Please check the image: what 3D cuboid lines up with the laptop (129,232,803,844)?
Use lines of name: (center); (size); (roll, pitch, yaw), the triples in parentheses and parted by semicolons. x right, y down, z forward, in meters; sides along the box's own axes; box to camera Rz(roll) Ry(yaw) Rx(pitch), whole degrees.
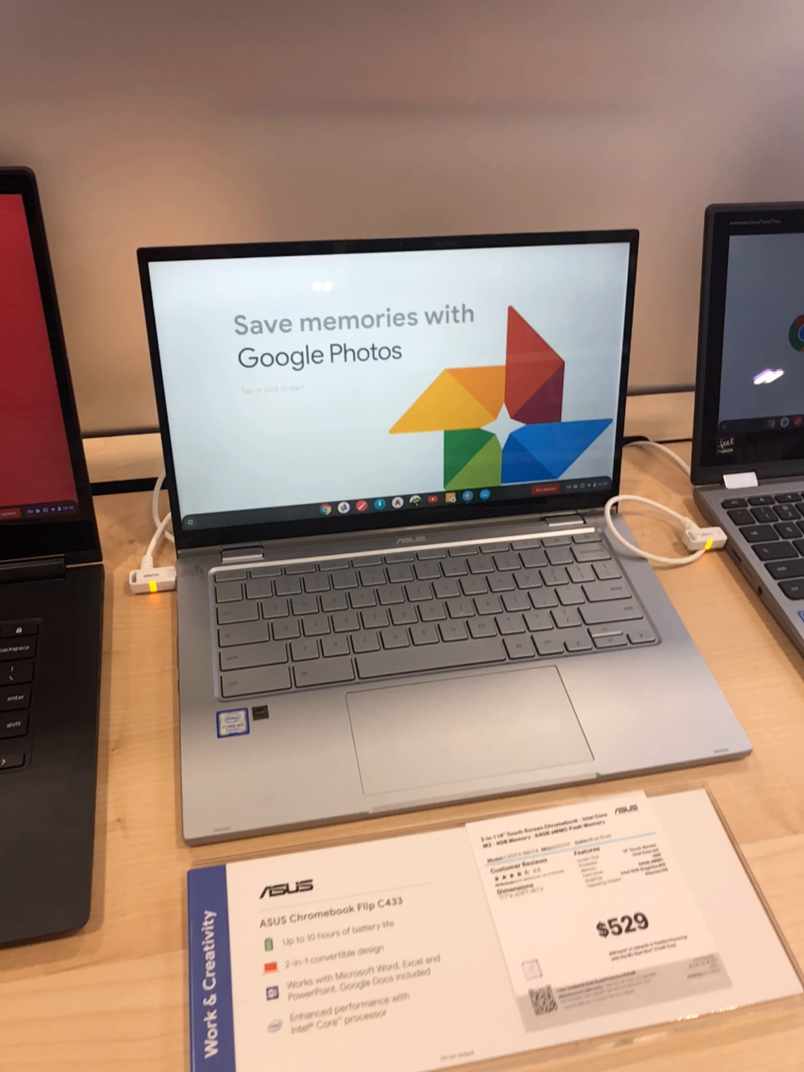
laptop: (0.020, -0.026, 0.515); (0.310, 0.174, 0.283); (-7, 43, -11)
